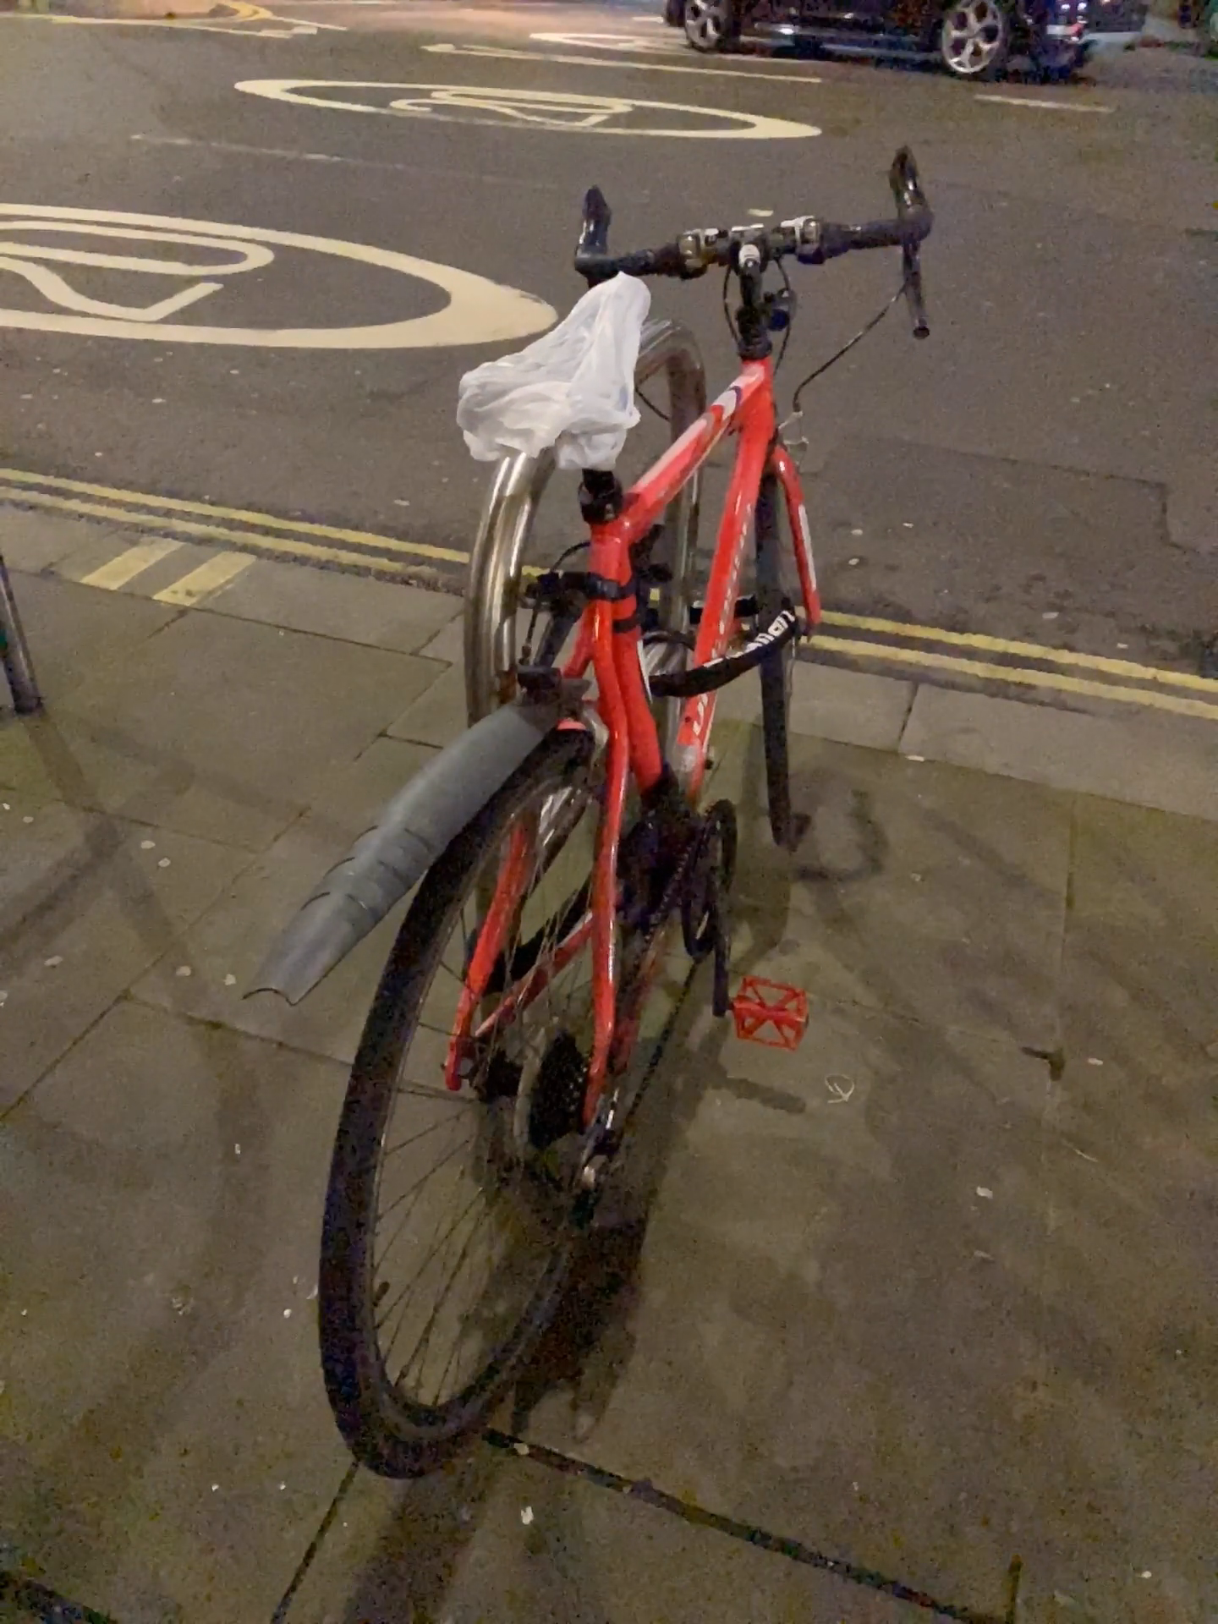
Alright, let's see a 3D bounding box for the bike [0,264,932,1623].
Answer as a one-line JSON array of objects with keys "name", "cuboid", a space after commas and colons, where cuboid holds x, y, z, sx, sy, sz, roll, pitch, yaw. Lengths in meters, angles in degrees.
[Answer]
[{"name": "bike", "cuboid": [0.008, -0.092, 1.605, 0.537, 0.809, 1.670, 11, 36, 13]}]
